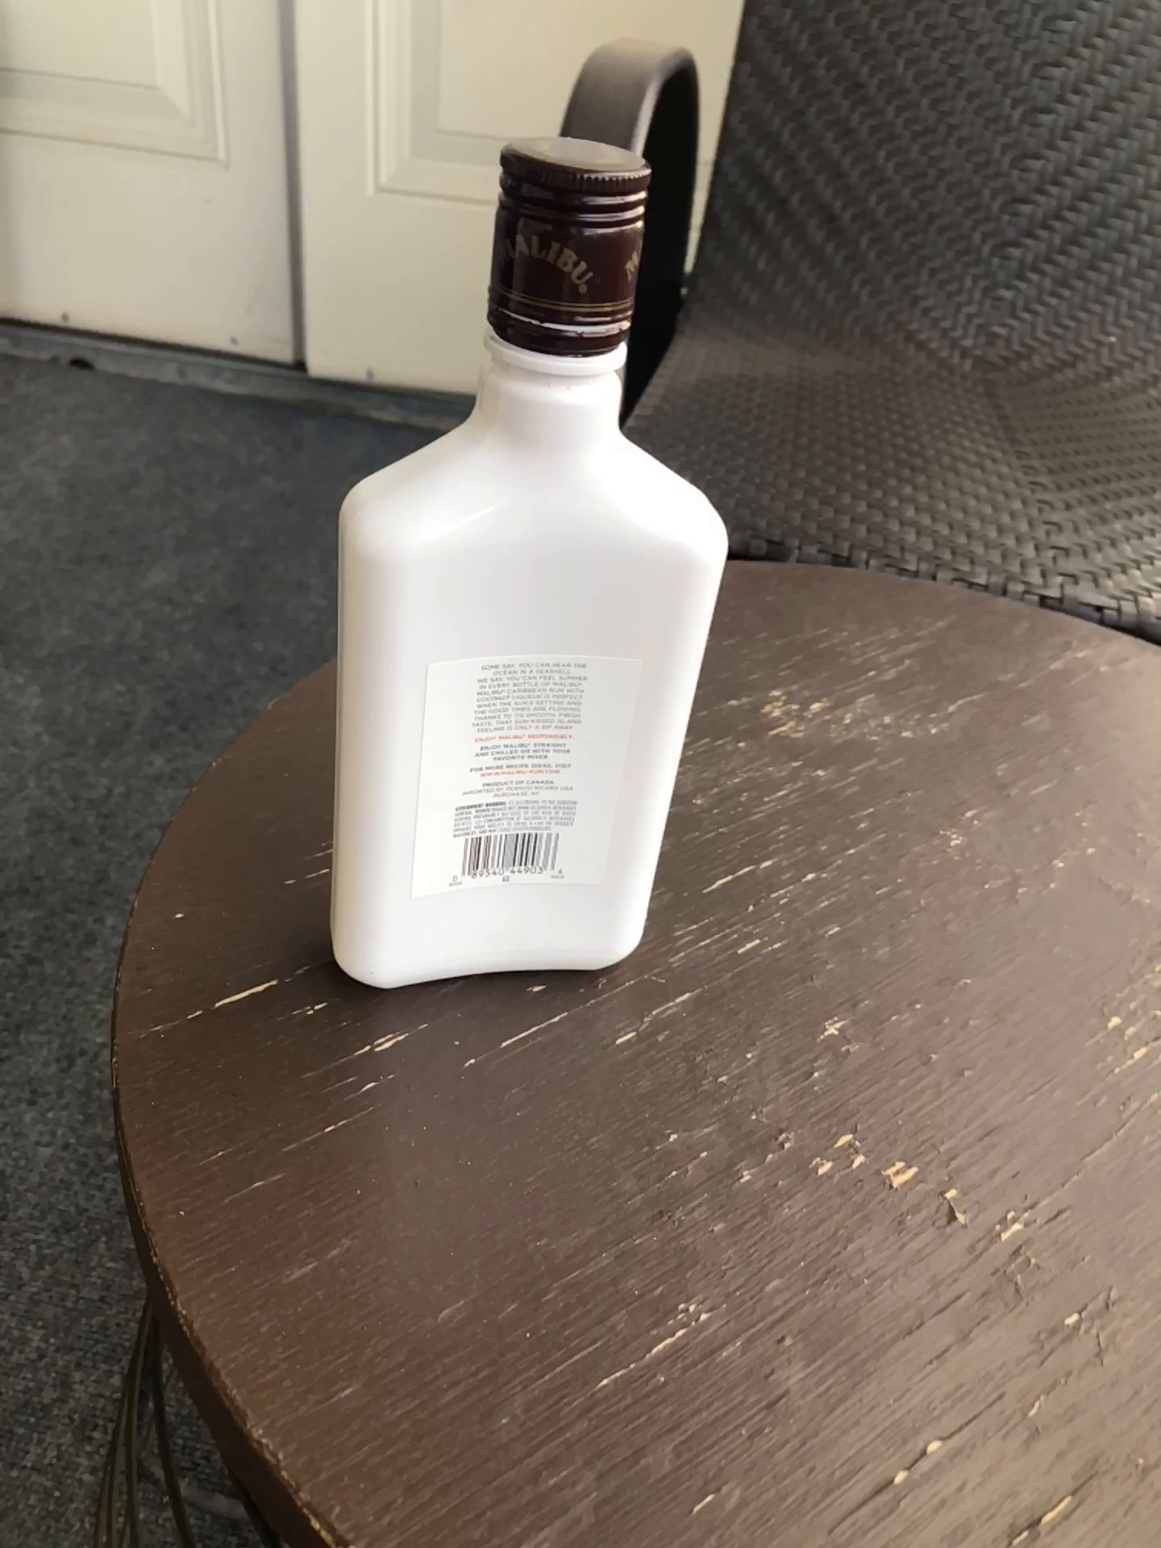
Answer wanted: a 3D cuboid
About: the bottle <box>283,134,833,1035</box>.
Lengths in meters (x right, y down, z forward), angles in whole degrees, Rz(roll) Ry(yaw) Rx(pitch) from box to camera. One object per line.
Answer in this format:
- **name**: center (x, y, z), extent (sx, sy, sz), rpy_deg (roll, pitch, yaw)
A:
- **bottle**: center (-0.014, -0.033, 0.312), extent (0.100, 0.210, 0.045), rpy_deg (-5, 37, -15)
